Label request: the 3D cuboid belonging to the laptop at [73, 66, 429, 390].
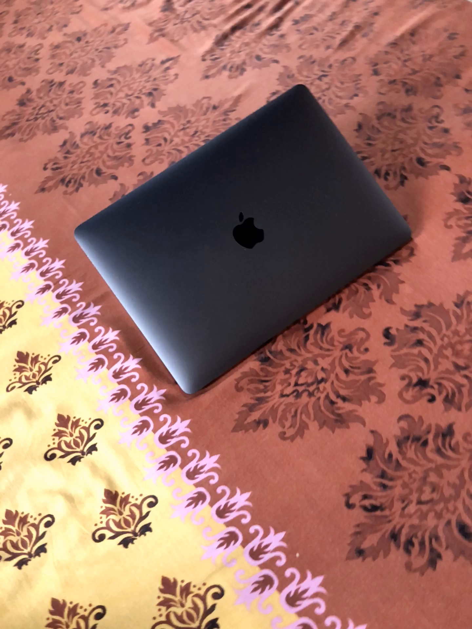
[{"bbox_3d":[0.014,-0.099,0.544,0.285,0.093,0.205,-34,63,-8],"label":"laptop"}]
